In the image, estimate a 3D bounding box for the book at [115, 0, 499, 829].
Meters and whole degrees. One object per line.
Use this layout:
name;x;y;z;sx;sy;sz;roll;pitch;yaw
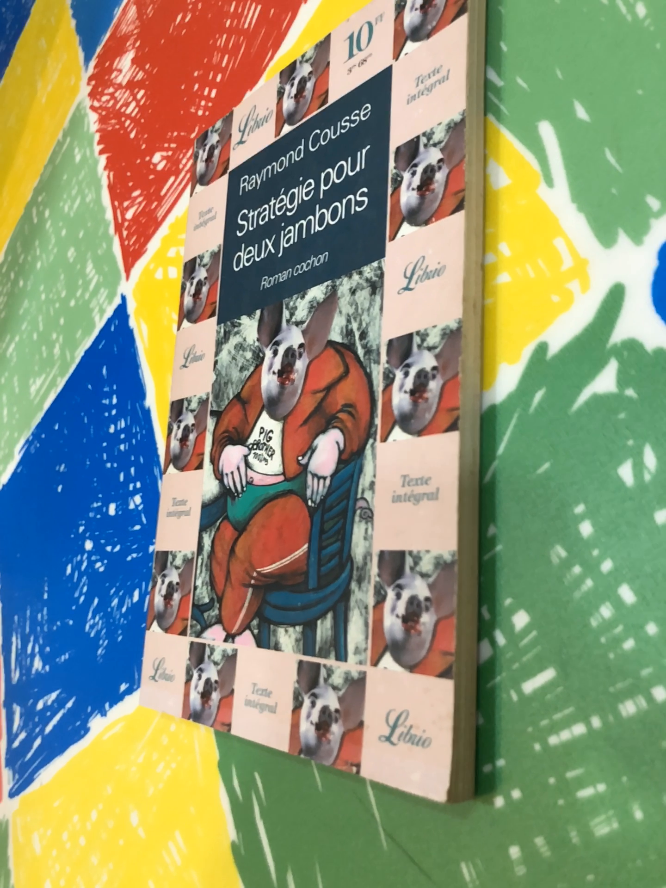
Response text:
book;-0.014;-0.020;0.204;0.131;0.013;0.197;-9;74;48
